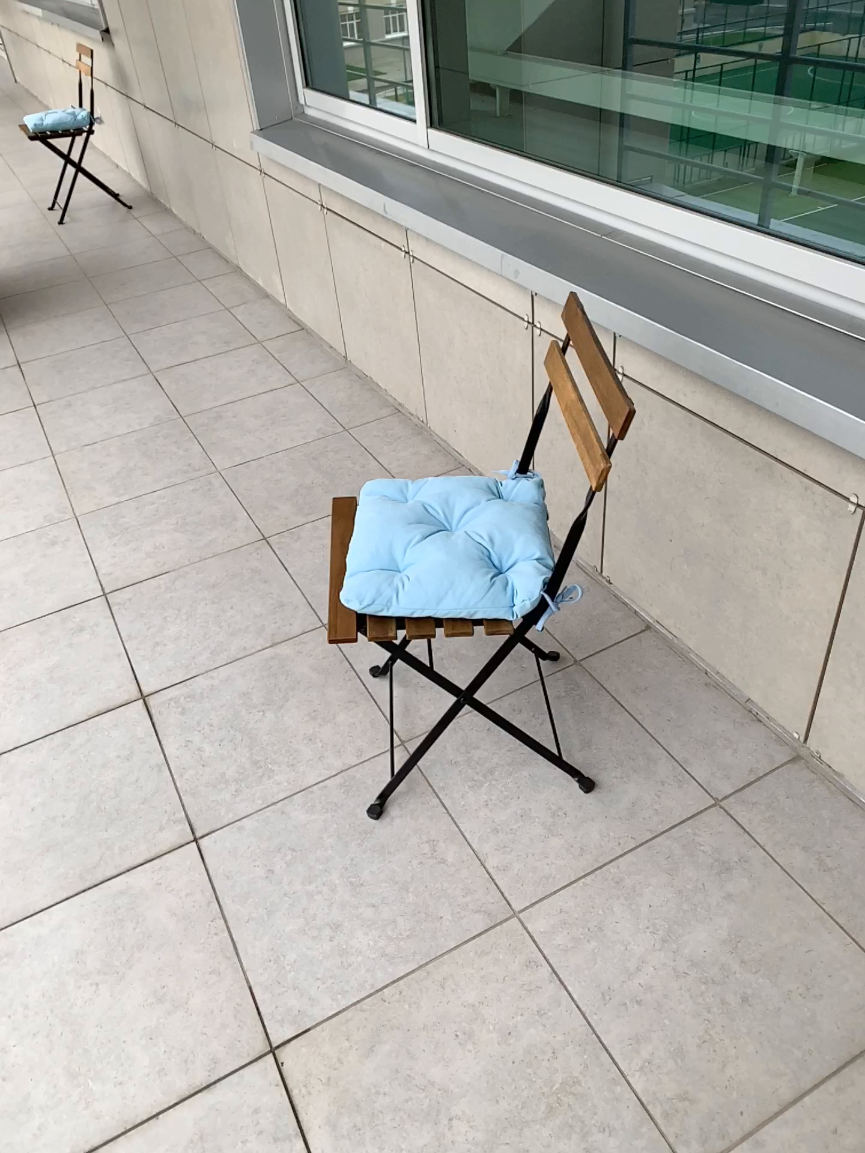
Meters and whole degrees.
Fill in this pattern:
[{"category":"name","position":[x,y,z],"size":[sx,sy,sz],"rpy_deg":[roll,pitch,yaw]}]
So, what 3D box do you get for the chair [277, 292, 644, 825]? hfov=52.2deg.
[{"category":"chair","position":[0.055,-0.012,1.474],"size":[0.452,0.748,0.419],"rpy_deg":[-5,37,1]}]
